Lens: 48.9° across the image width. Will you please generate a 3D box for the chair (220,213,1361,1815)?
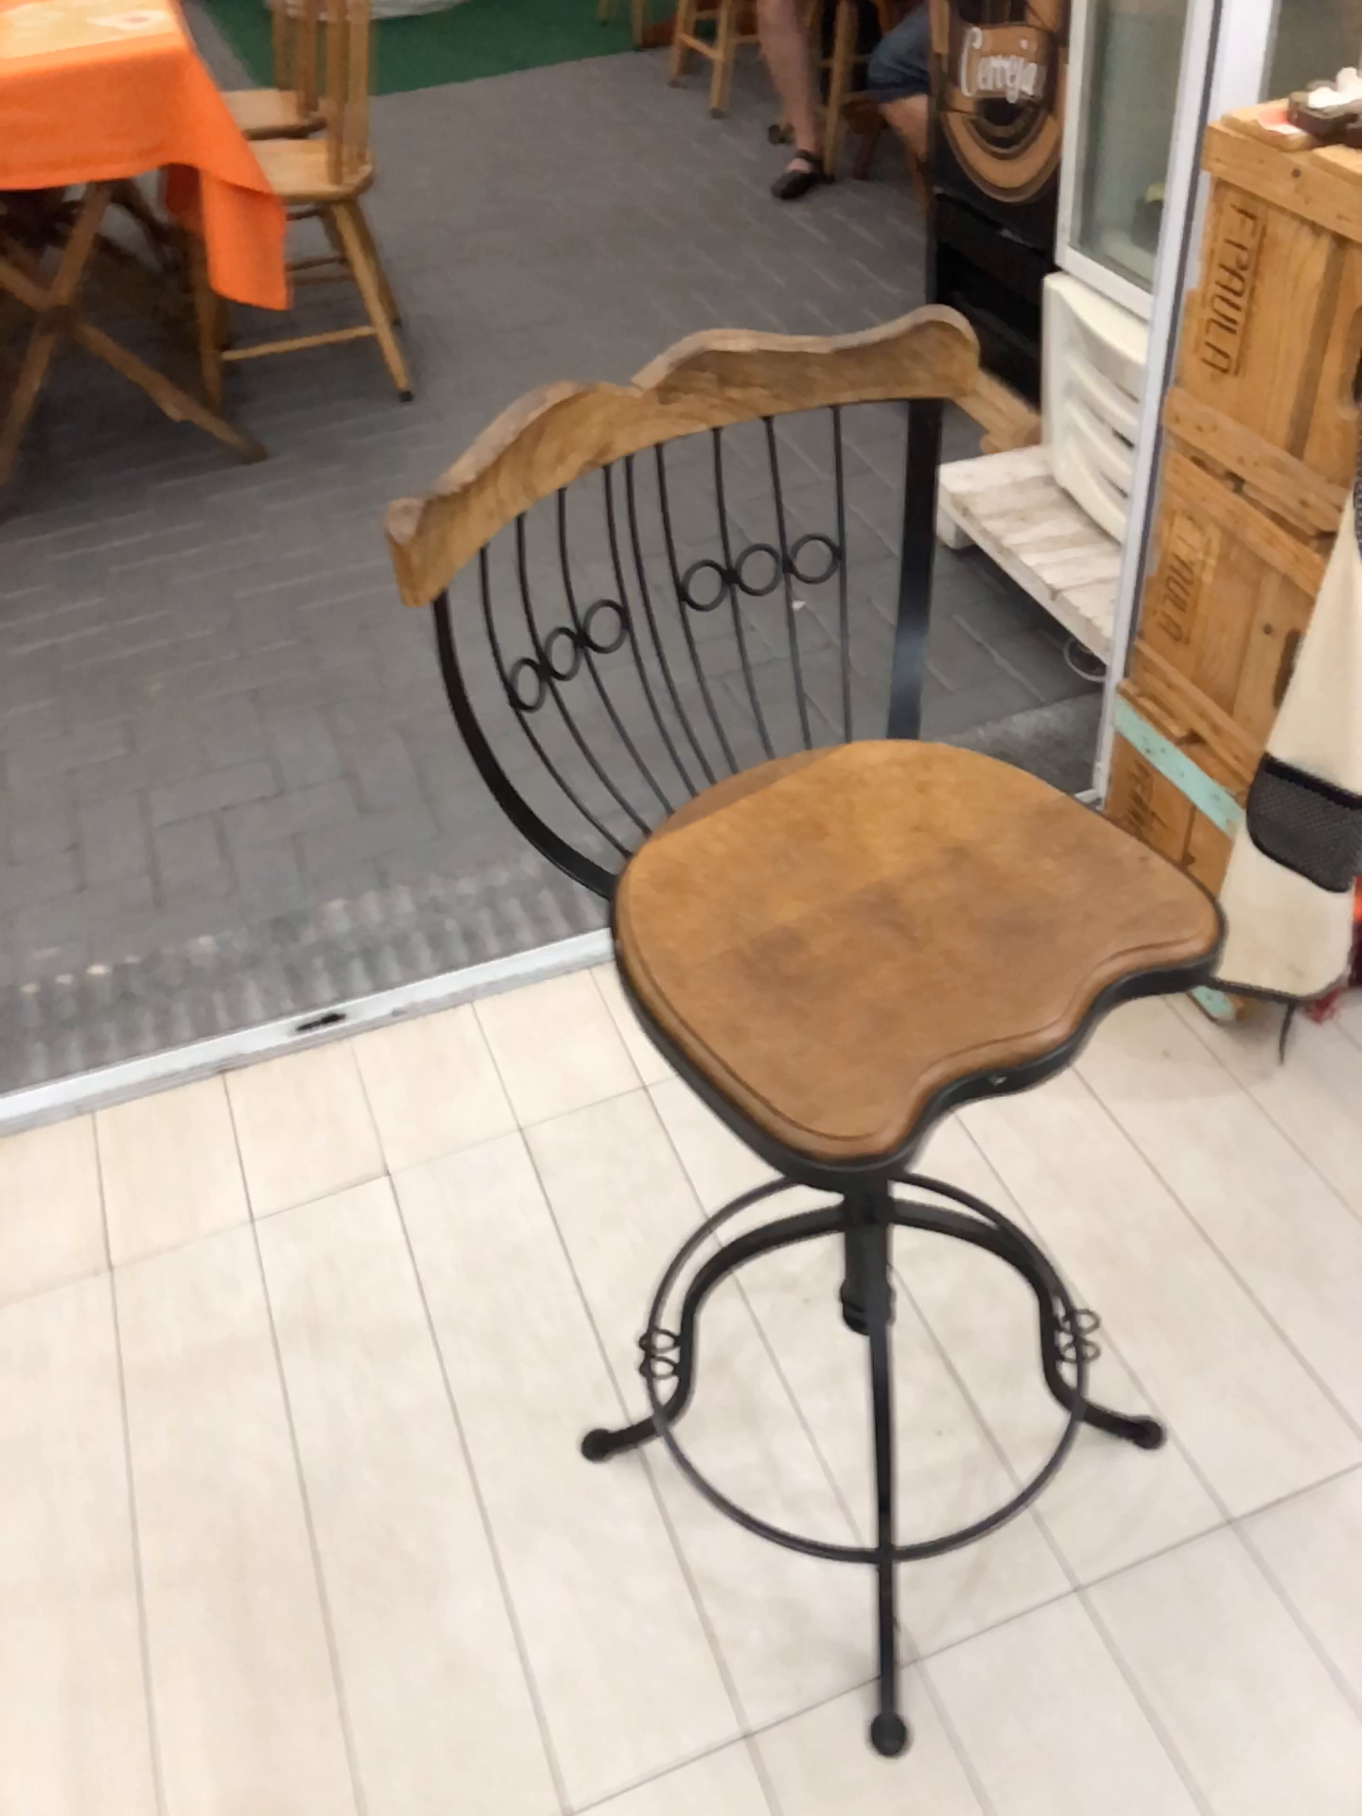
[{"bbox_3d":[0.119,0.106,1.017,0.461,0.893,0.472,-29,46,-23],"label":"chair"}]
